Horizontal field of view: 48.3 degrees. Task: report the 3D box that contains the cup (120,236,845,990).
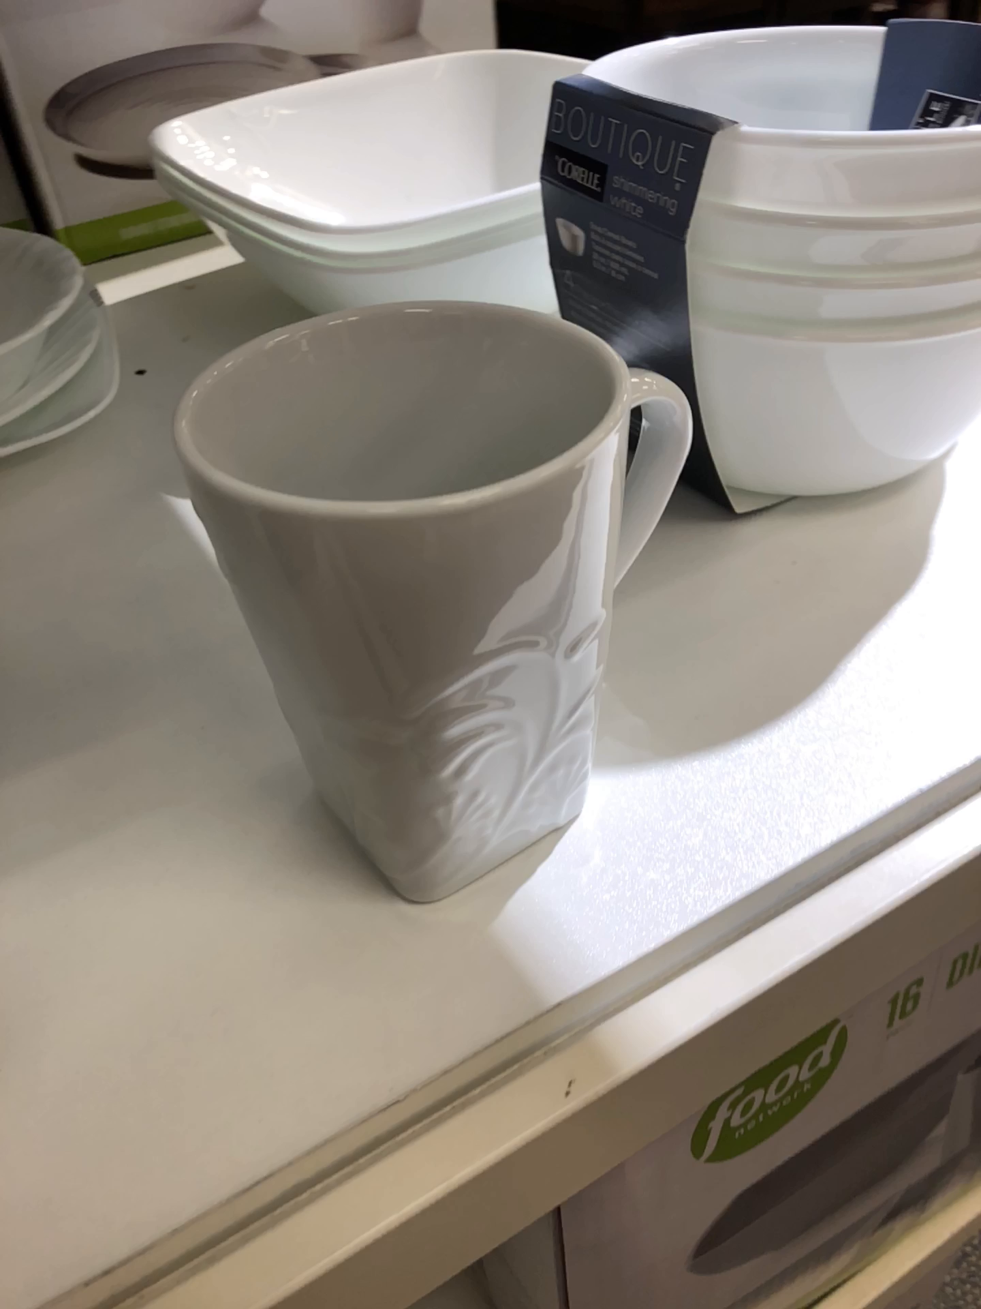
[{"bbox_3d":[-0.001,-0.014,0.252,0.115,0.113,0.086,-24,44,-22],"label":"cup"}]
